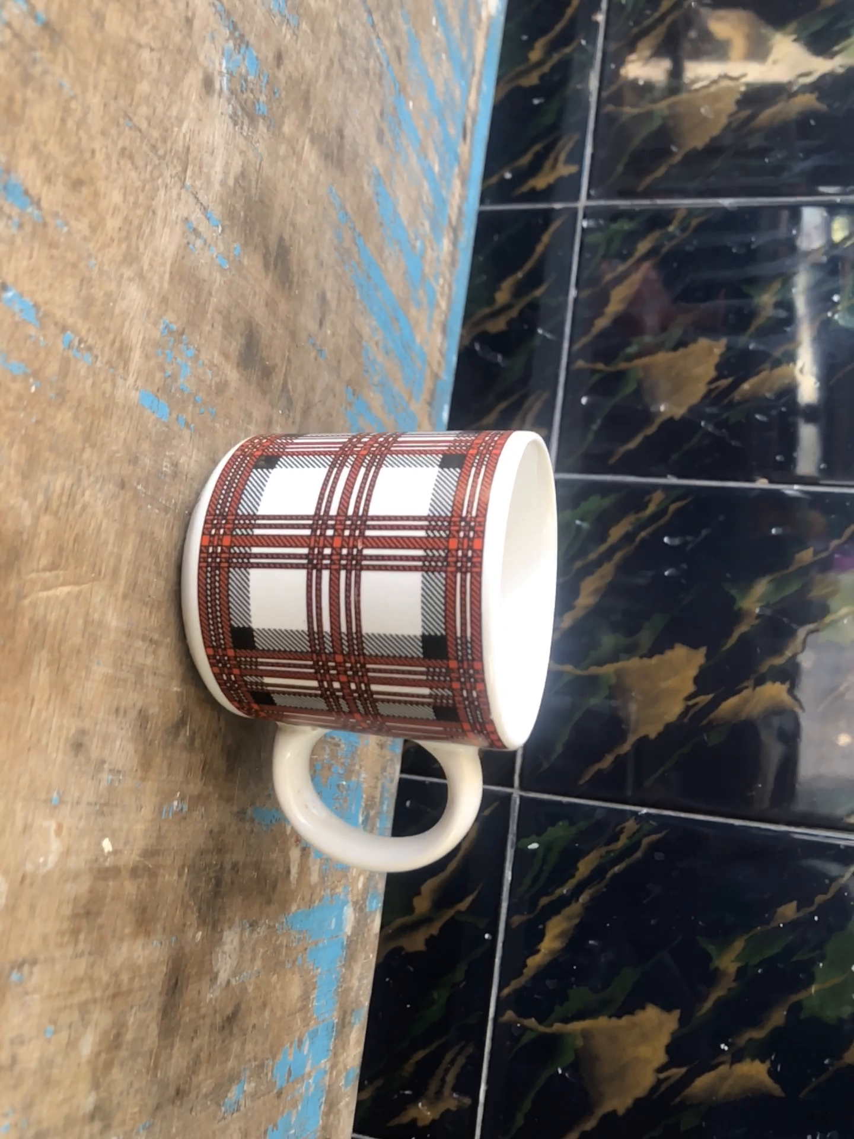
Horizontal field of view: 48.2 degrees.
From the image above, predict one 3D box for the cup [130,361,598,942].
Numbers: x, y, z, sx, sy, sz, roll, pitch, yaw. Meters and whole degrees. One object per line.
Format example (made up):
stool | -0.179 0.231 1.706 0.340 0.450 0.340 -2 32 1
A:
cup | -0.008 0.016 0.220 0.060 0.080 0.110 31 64 -72
